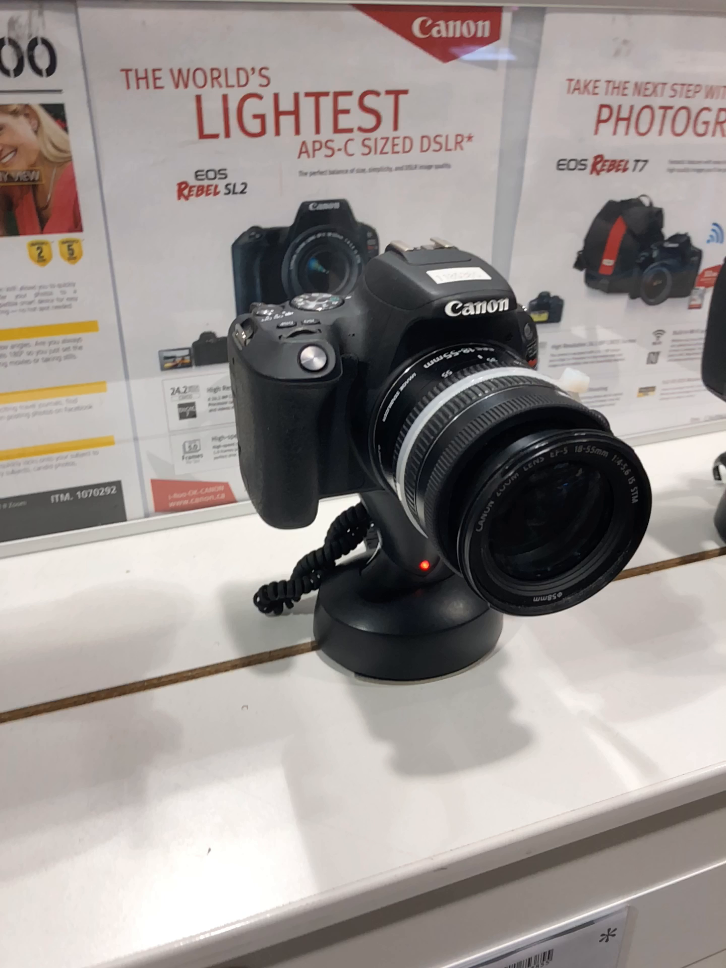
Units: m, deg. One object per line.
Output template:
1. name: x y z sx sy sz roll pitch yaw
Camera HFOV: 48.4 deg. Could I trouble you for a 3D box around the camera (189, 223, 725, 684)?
1. camera: 0.023 -0.027 0.278 0.130 0.090 0.141 -11 29 -19
